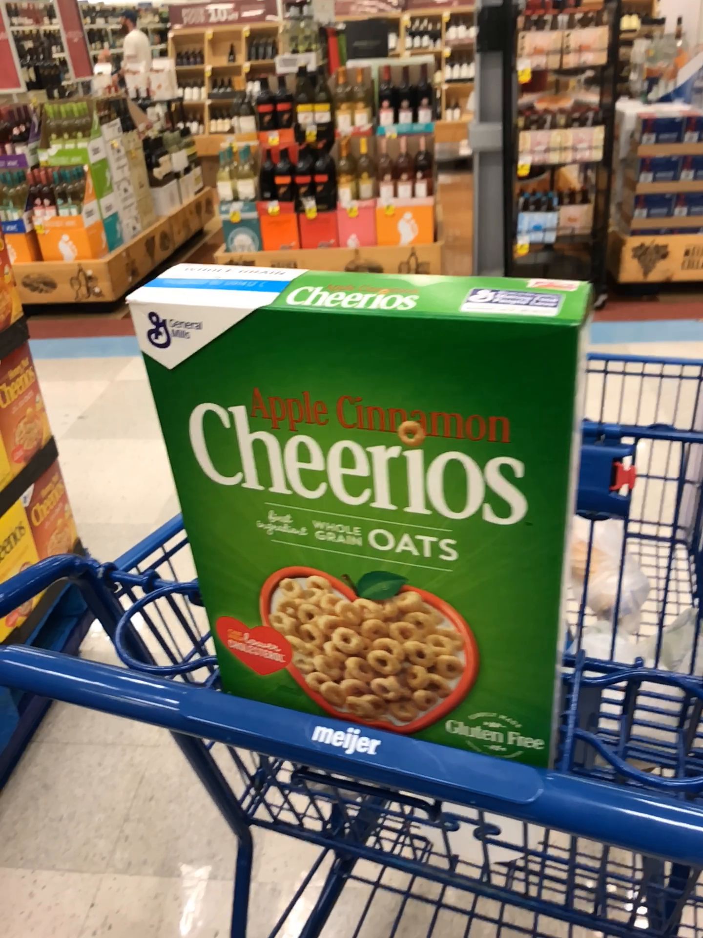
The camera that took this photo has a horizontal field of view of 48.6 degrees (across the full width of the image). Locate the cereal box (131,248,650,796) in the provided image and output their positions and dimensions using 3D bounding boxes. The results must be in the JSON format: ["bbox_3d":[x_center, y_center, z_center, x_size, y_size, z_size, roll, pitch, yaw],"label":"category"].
[{"bbox_3d":[0.022,0.032,0.391,0.210,0.269,0.050,6,32,18],"label":"cereal box"}]
